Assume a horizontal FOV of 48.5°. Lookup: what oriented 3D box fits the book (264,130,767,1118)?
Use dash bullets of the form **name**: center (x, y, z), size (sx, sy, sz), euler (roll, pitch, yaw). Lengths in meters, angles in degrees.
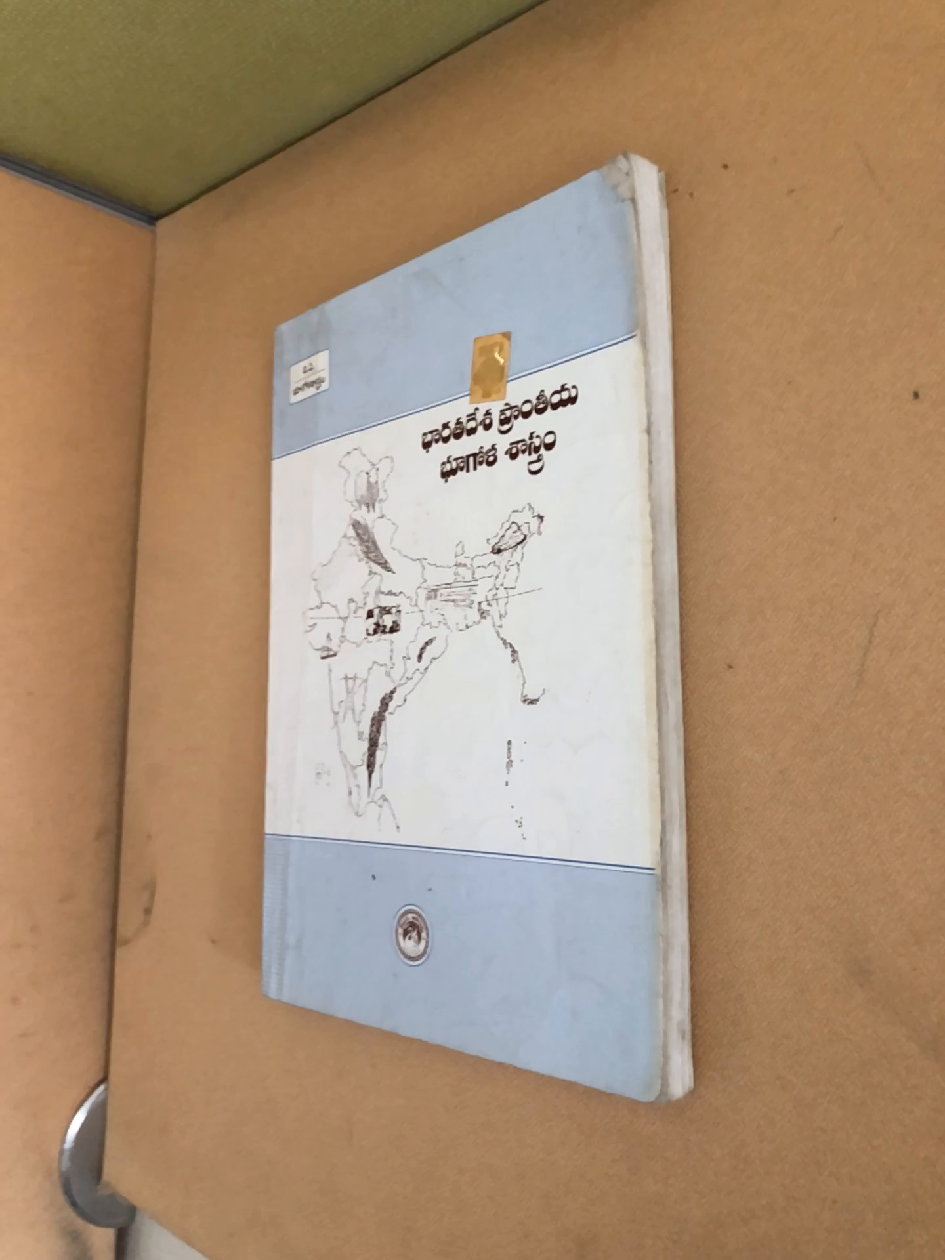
- **book**: center (0.000, 0.000, 0.337), size (0.181, 0.030, 0.250), euler (-7, 81, 44)
